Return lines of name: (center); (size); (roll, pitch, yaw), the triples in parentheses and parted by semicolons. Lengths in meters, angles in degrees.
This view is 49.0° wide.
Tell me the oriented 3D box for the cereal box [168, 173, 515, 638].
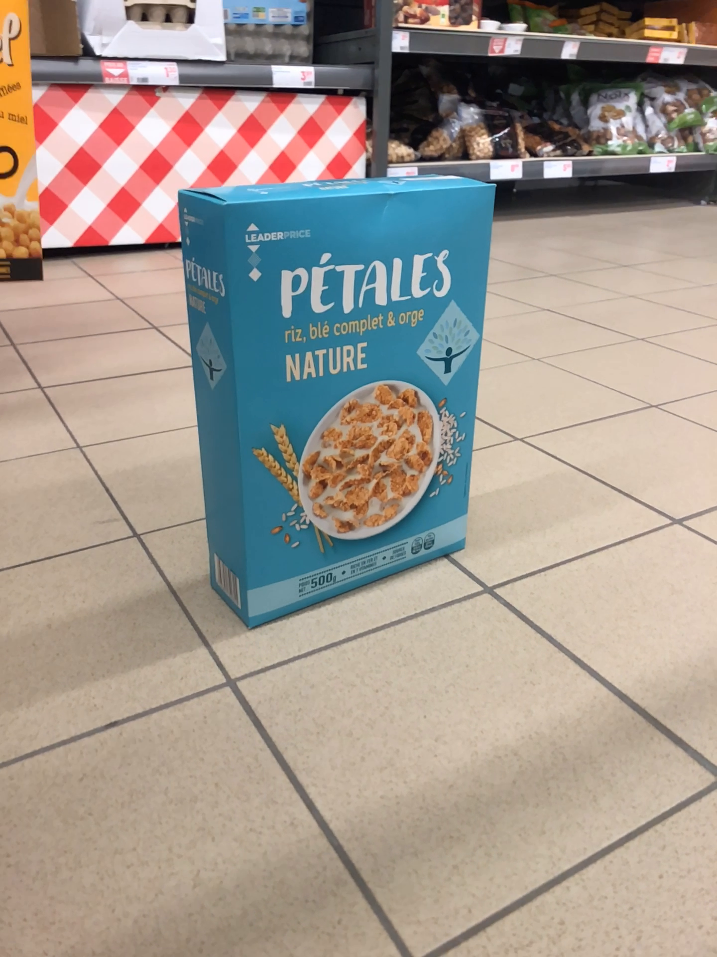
cereal box: (-0.007, -0.054, 0.526); (0.201, 0.269, 0.070); (-15, 29, -30)
